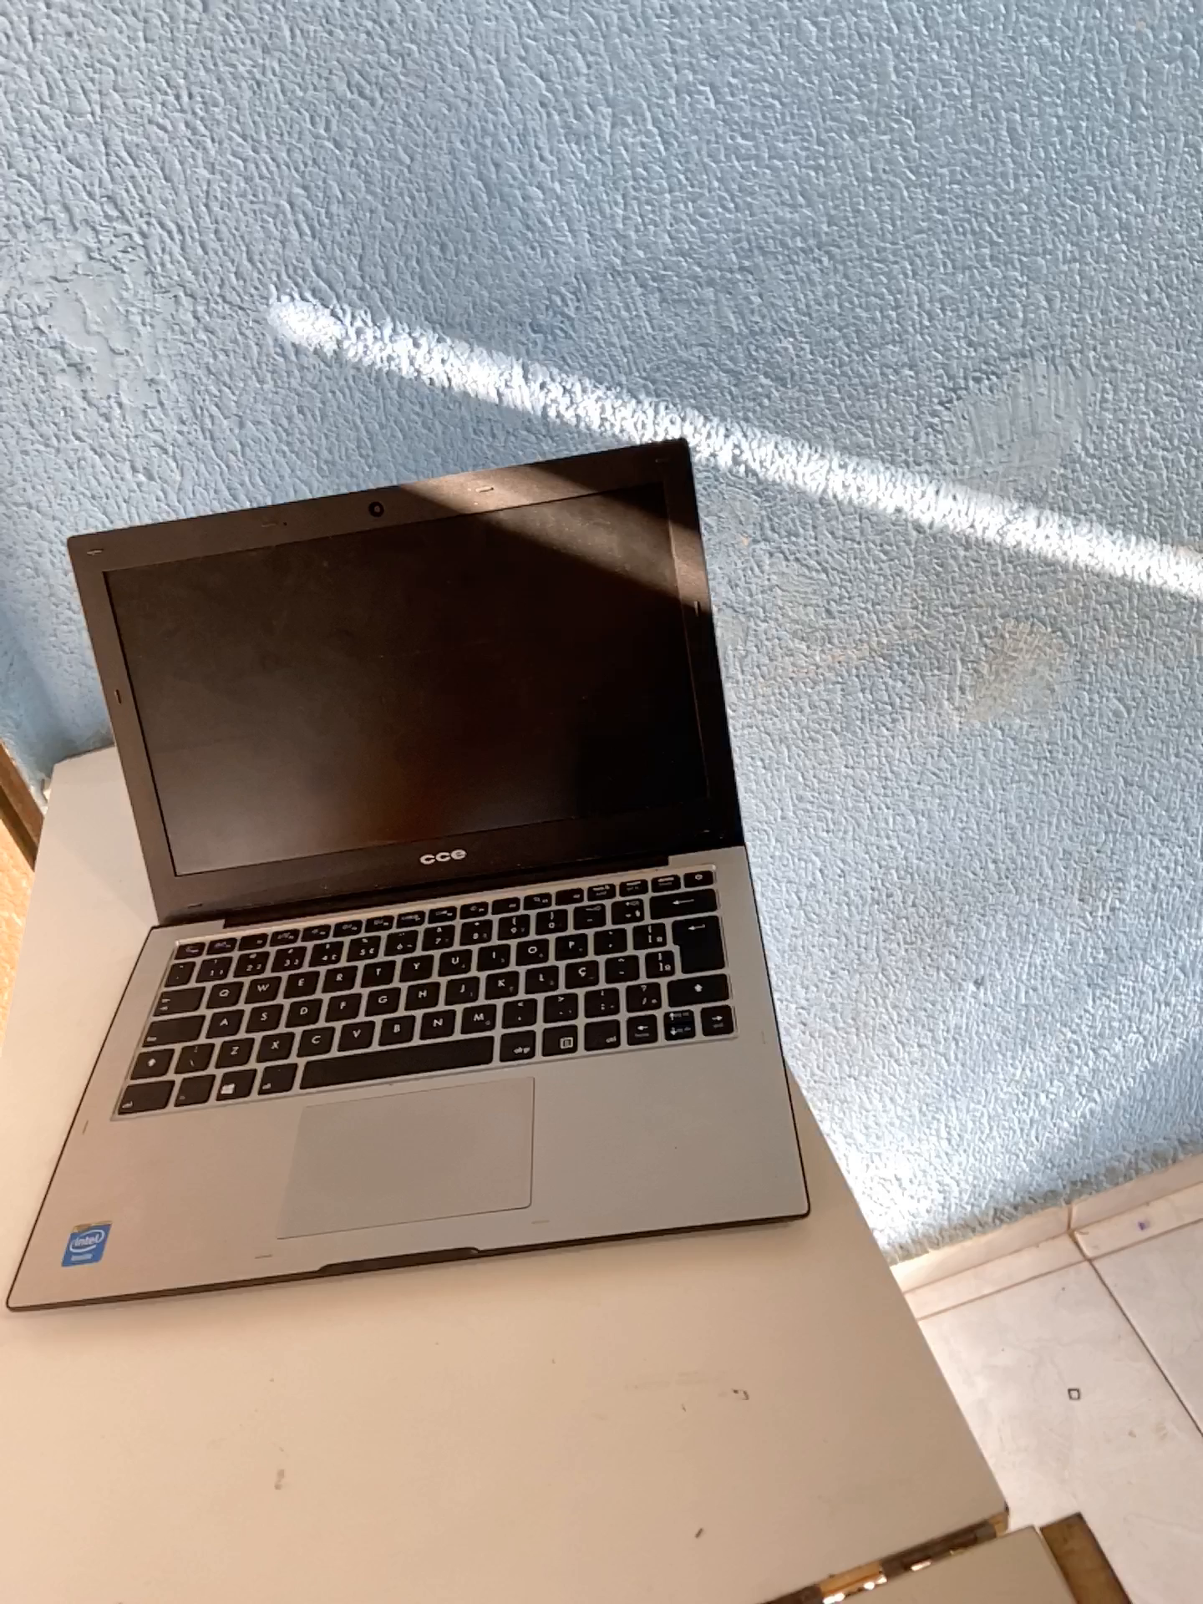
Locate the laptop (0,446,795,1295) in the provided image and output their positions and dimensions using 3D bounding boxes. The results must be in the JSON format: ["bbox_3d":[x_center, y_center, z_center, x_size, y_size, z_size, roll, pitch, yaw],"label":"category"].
[{"bbox_3d":[-0.100,0.012,0.545,0.313,0.181,0.305,-8,38,4],"label":"laptop"}]
